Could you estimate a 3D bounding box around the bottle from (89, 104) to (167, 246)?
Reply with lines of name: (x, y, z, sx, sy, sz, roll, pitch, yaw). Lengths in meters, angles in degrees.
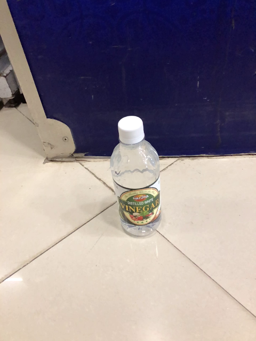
bottle: (0.006, 0.015, 0.386, 0.080, 0.189, 0.070, -7, 42, 1)
